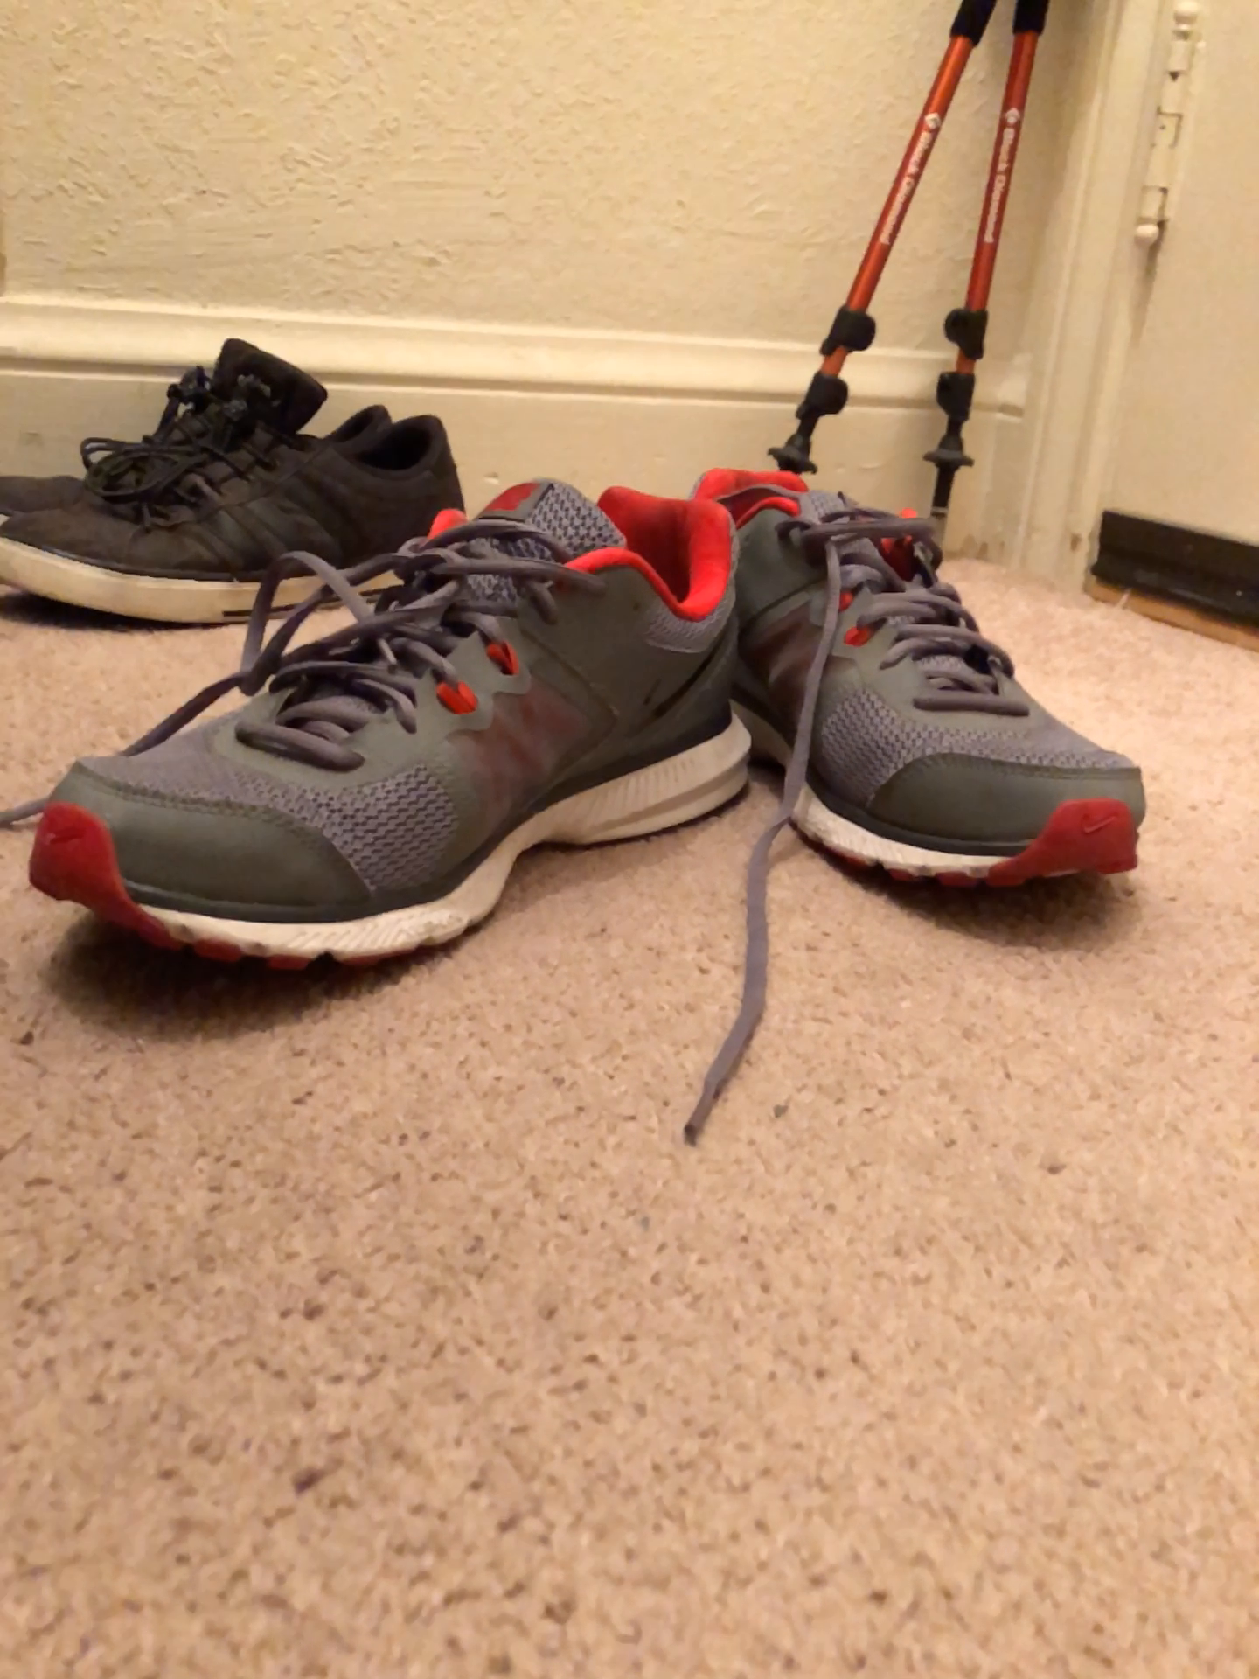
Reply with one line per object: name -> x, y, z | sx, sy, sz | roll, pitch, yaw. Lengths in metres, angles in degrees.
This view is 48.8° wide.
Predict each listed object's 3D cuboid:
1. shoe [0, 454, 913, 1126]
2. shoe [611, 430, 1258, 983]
shoe -> -0.044, -0.044, 0.432 | 0.113, 0.120, 0.298 | 21, 27, 35
shoe -> 0.096, -0.074, 0.529 | 0.113, 0.119, 0.298 | -4, 23, -19
